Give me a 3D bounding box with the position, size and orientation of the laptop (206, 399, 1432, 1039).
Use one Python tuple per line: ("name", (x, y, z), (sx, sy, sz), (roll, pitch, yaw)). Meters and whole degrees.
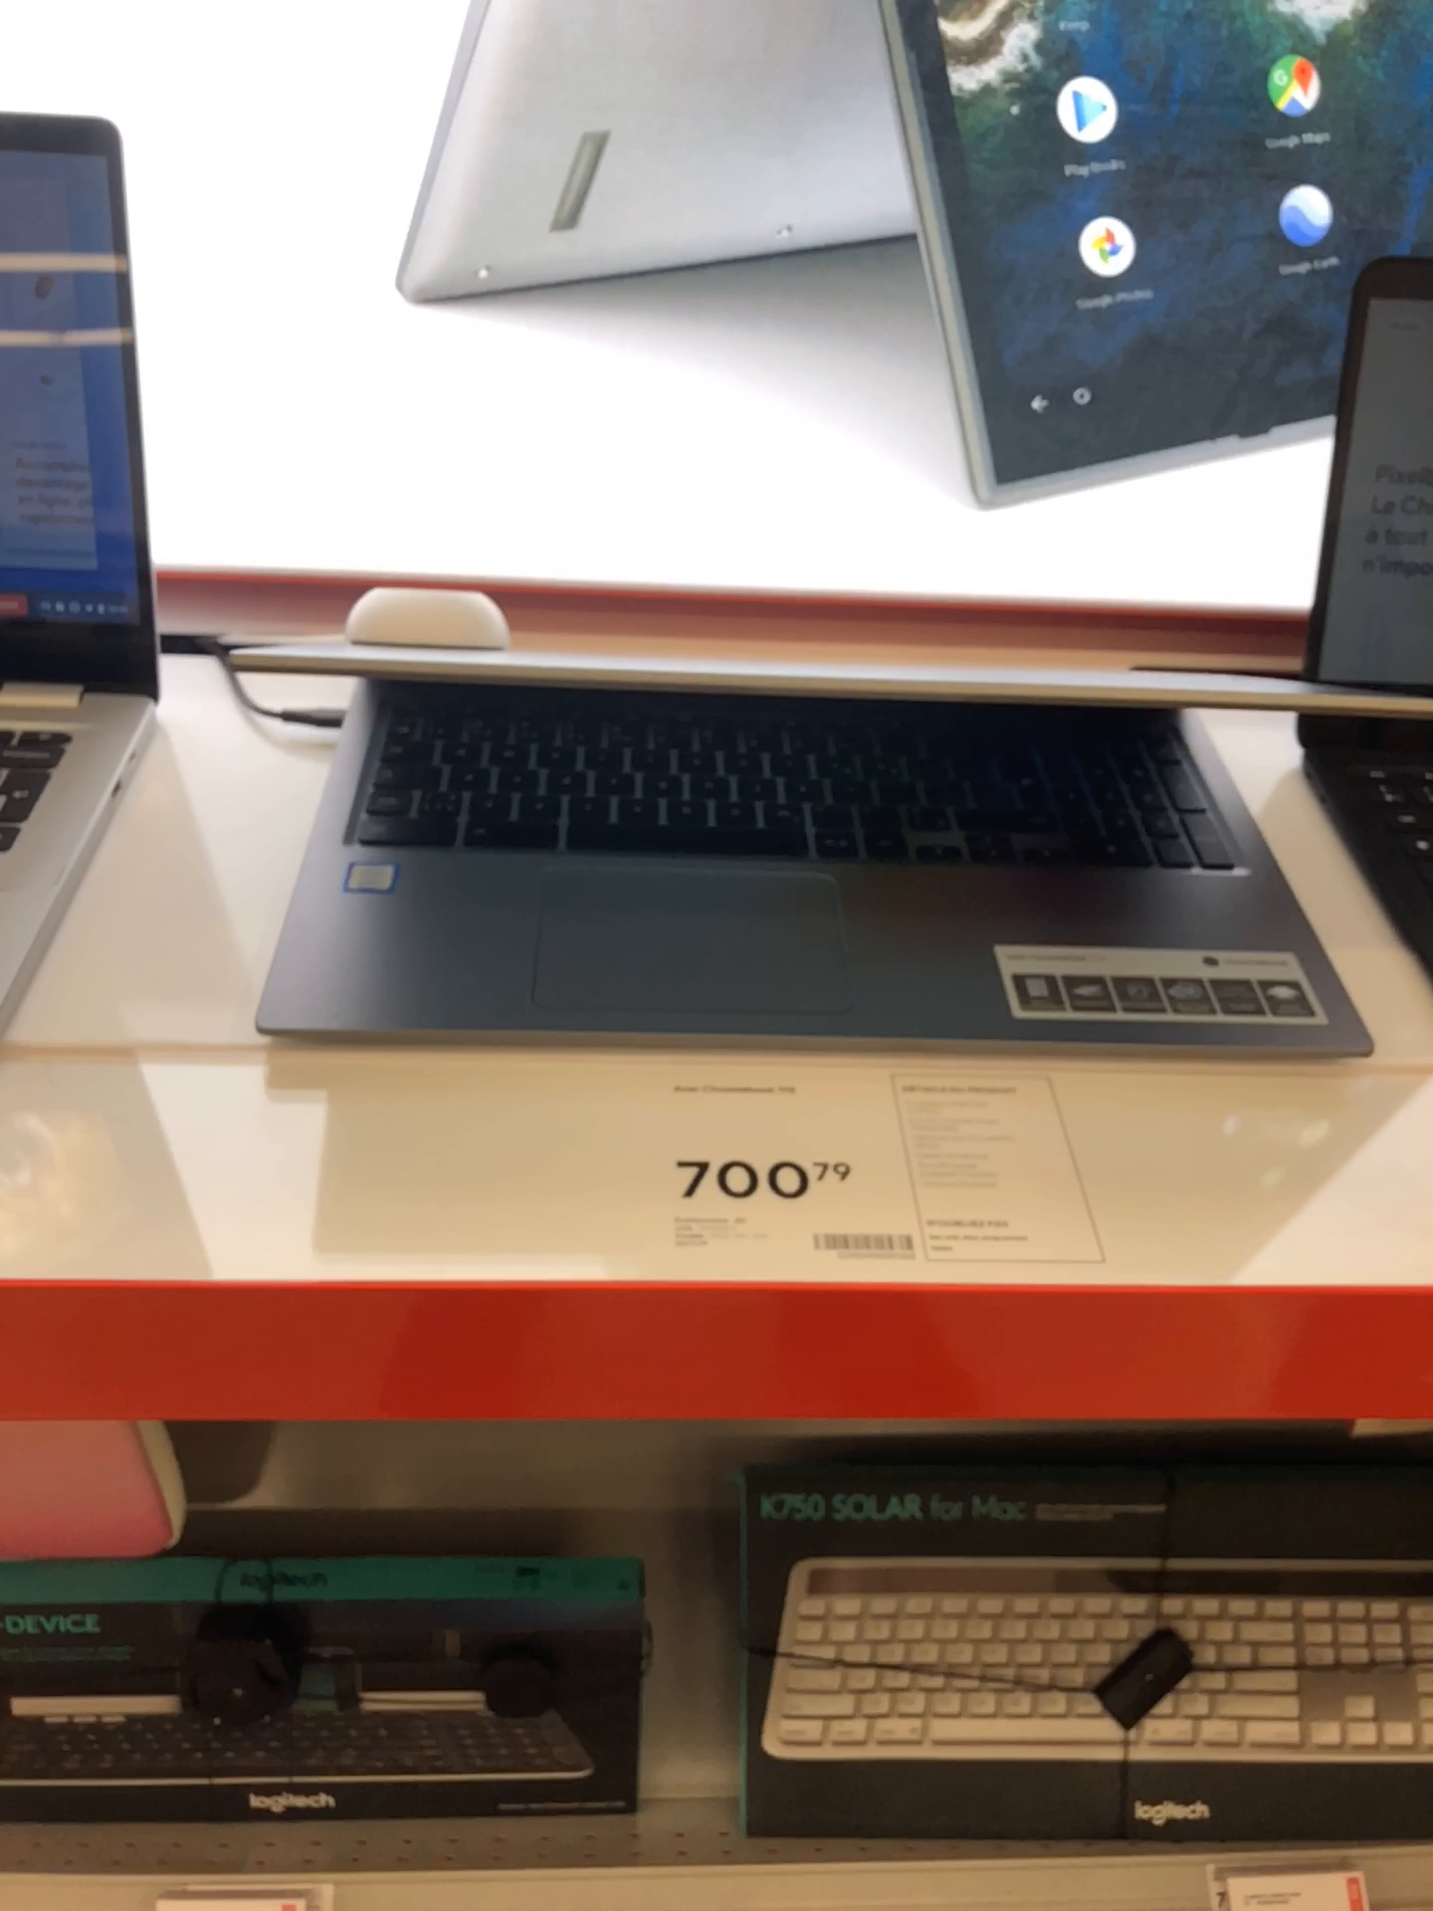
("laptop", (0.037, -0.094, 0.579), (0.368, 0.109, 0.245), (1, 38, -6))
